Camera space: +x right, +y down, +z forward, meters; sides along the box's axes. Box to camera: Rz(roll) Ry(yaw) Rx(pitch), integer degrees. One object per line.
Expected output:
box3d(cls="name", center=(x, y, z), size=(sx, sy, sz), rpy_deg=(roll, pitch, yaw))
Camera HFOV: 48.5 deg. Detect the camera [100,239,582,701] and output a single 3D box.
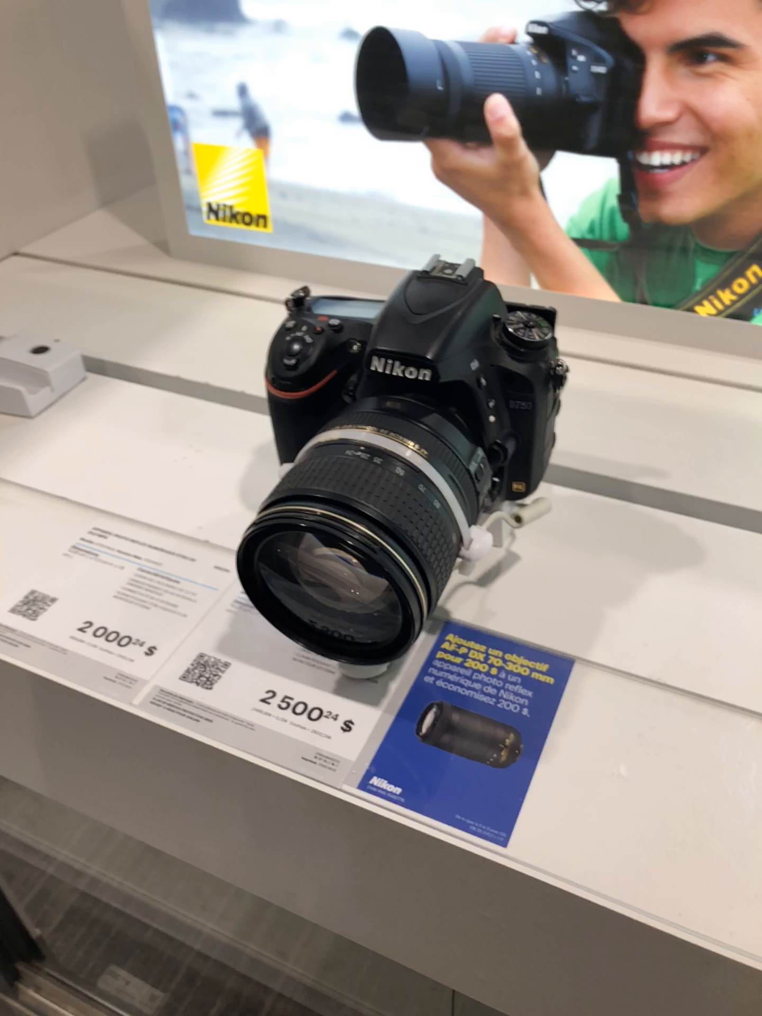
box3d(cls="camera", center=(-0.003, -0.033, 0.383), size=(0.138, 0.099, 0.184), rpy_deg=(13, 40, 18))
